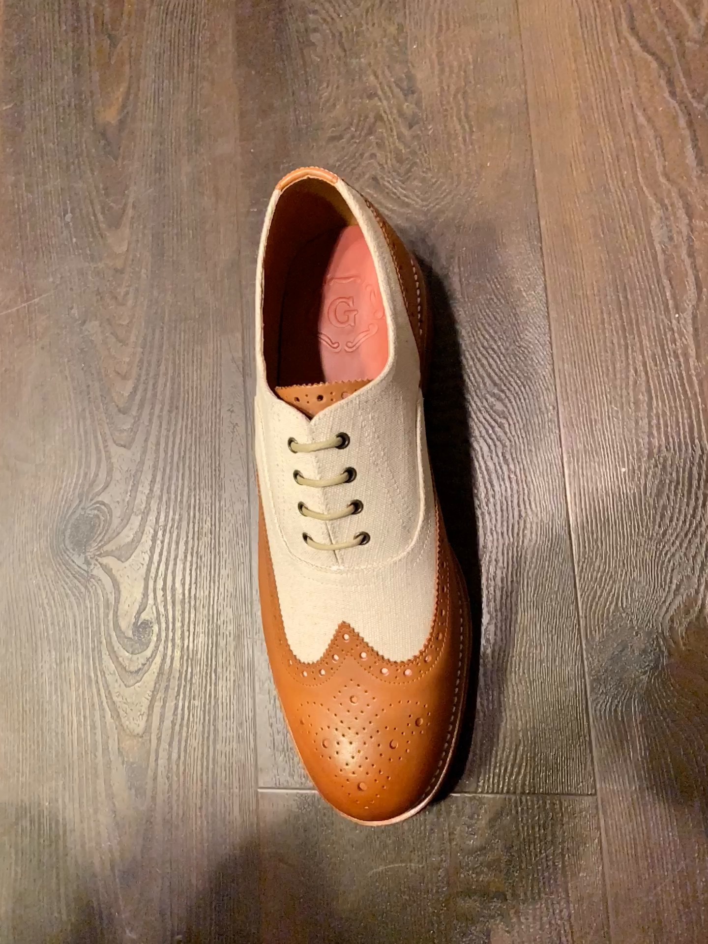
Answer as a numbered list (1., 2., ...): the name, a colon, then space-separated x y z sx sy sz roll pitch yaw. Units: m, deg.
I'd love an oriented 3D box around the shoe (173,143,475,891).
1. shoe: -0.007 0.017 0.362 0.110 0.120 0.300 -3 81 15
